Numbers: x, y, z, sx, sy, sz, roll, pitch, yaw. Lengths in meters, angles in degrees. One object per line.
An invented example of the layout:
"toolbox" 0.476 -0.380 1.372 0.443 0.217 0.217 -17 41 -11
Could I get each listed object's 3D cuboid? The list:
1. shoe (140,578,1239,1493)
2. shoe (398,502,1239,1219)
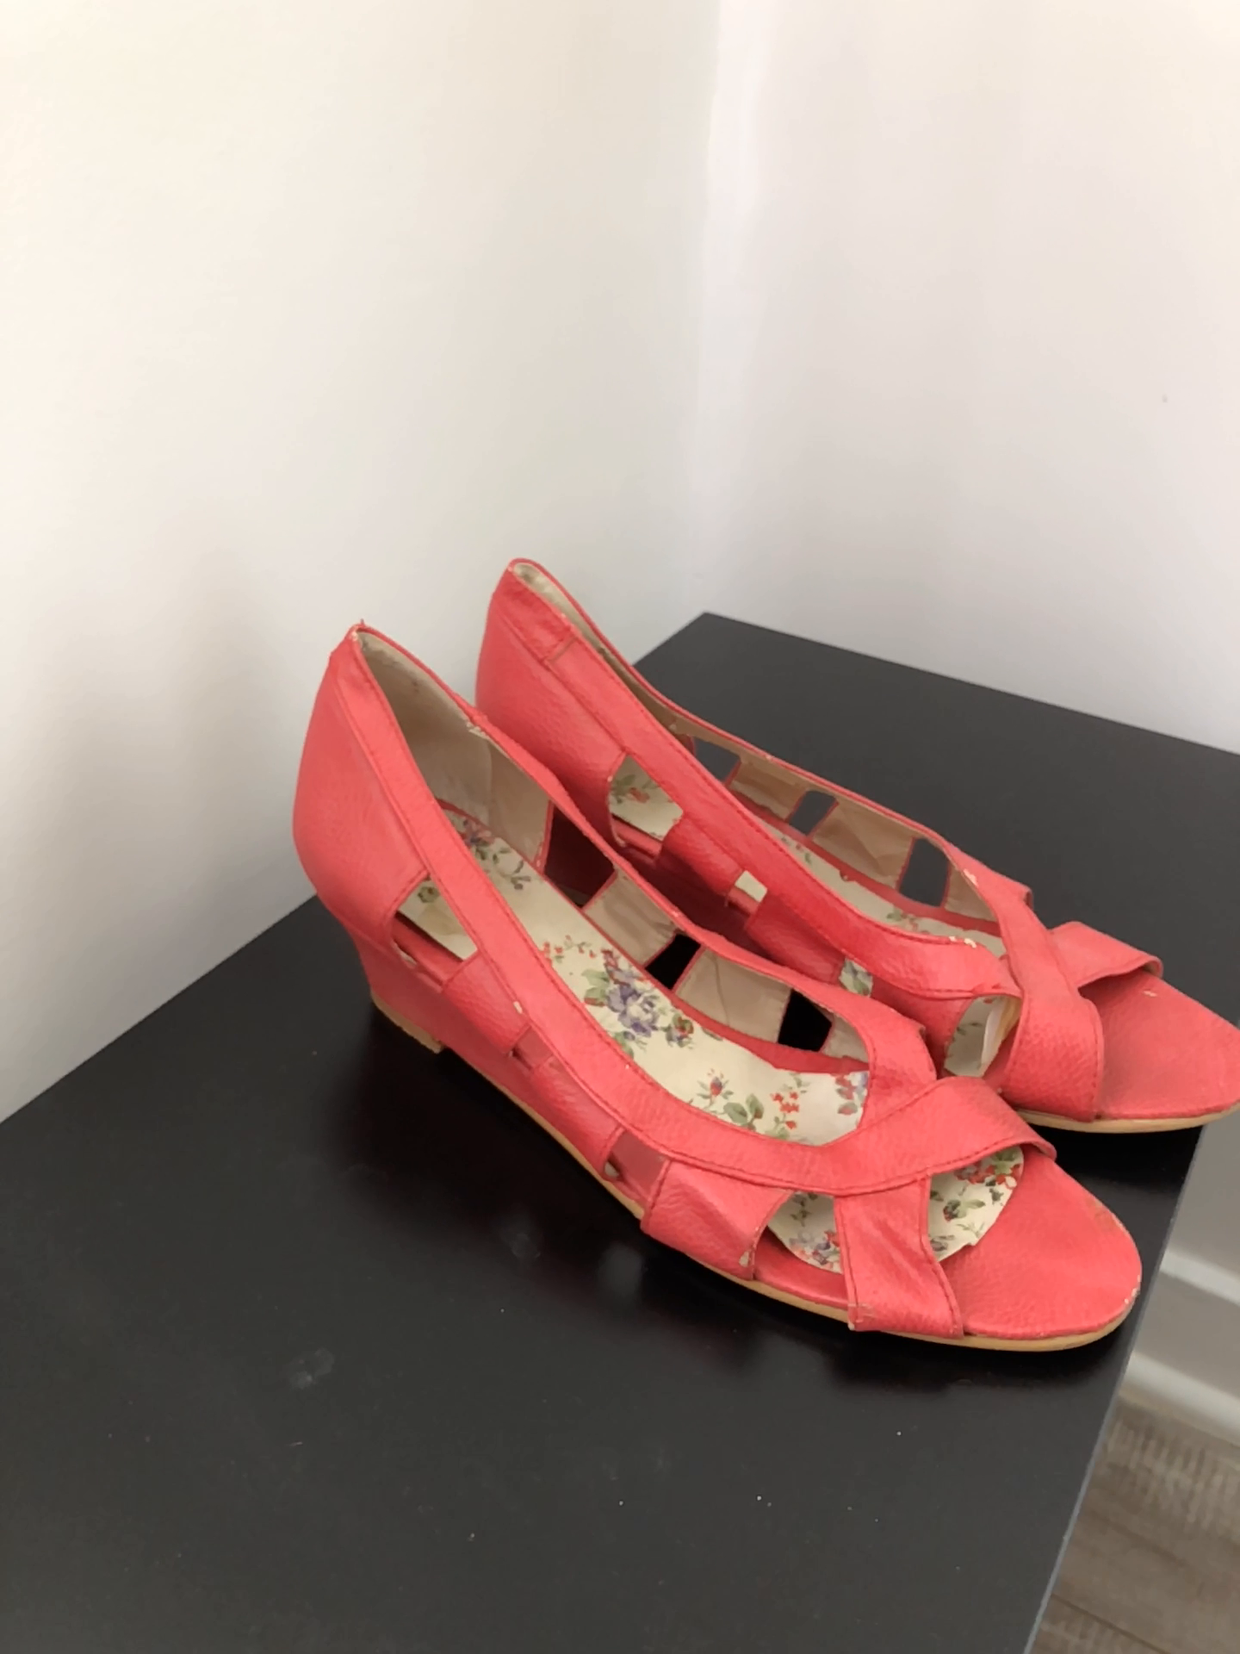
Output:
"shoe" 0.013 0.030 0.307 0.220 0.100 0.088 19 36 24
"shoe" 0.060 -0.004 0.364 0.230 0.100 0.078 19 36 24
